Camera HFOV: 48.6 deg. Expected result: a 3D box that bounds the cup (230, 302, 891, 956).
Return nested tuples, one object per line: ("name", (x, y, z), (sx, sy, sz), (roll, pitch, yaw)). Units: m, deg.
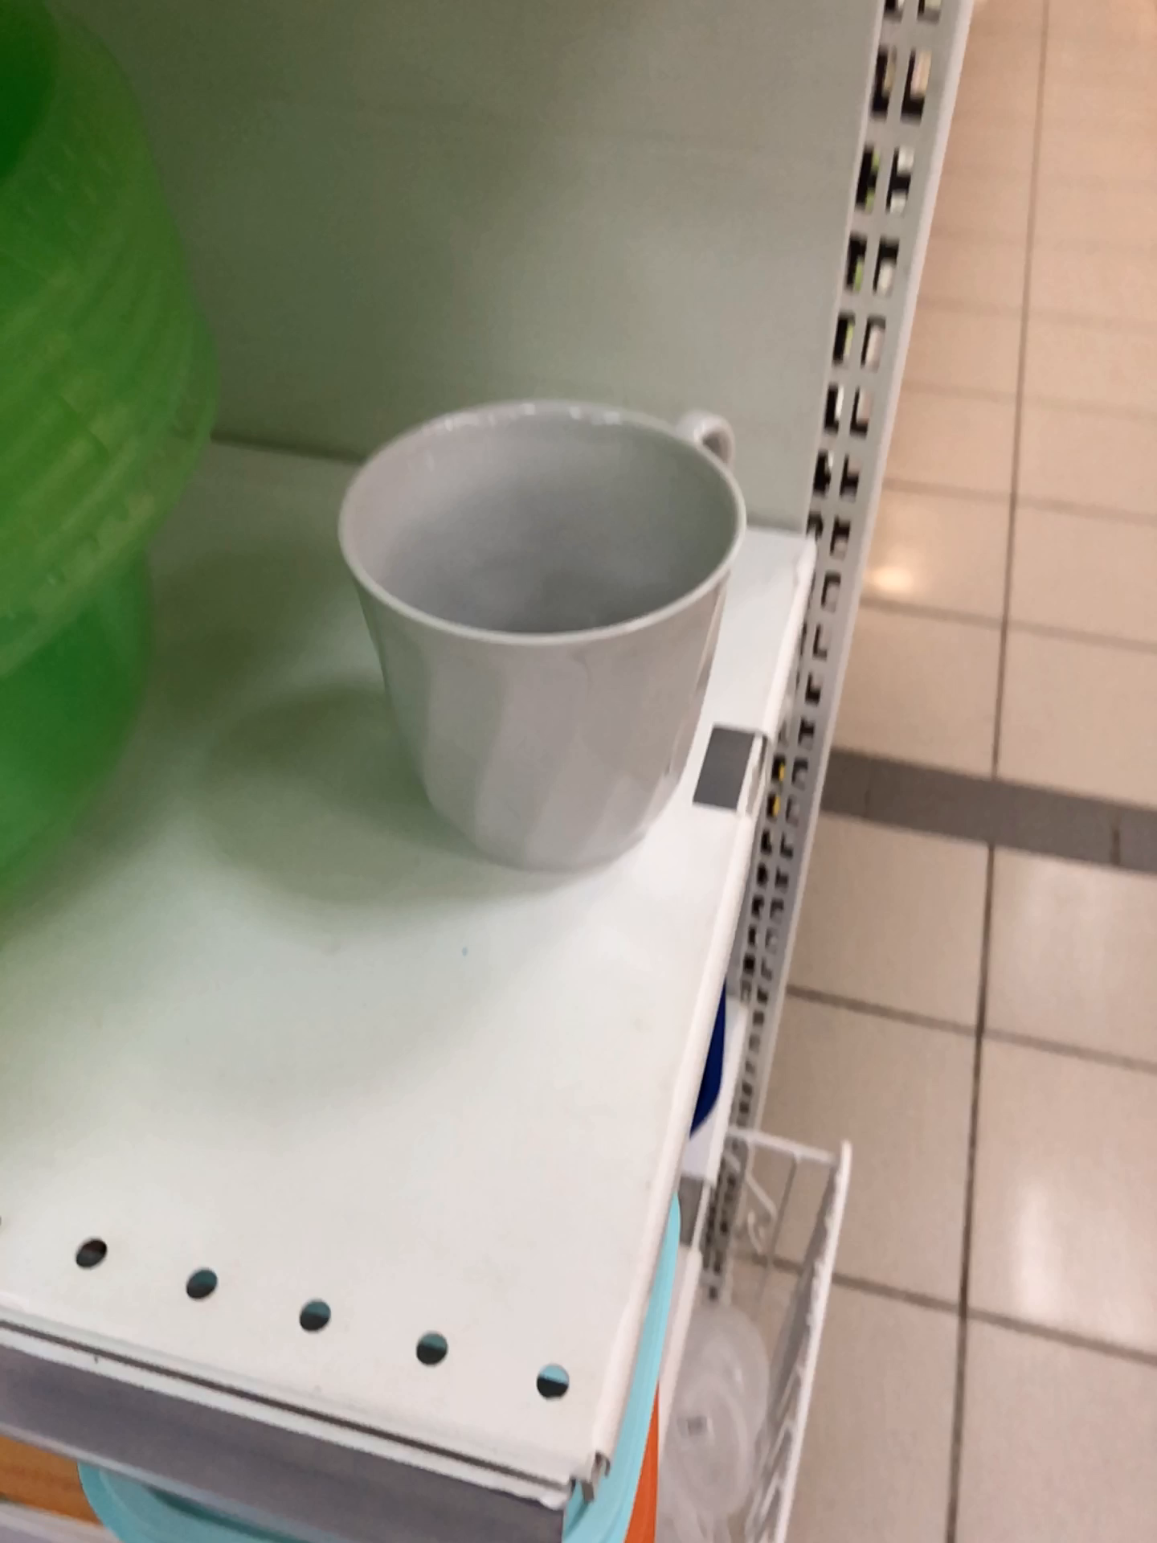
("cup", (-0.001, -0.040, 0.313), (0.090, 0.080, 0.119), (33, 56, 27))
